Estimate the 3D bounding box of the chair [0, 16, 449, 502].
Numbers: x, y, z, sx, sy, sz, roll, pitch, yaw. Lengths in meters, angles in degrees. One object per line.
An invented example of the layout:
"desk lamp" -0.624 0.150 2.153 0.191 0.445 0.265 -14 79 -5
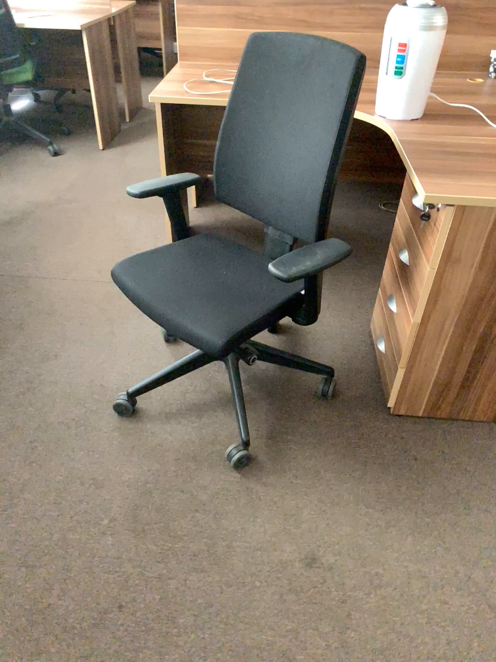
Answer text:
"chair" -0.077 -0.255 1.376 0.792 0.915 0.672 -31 48 -34
